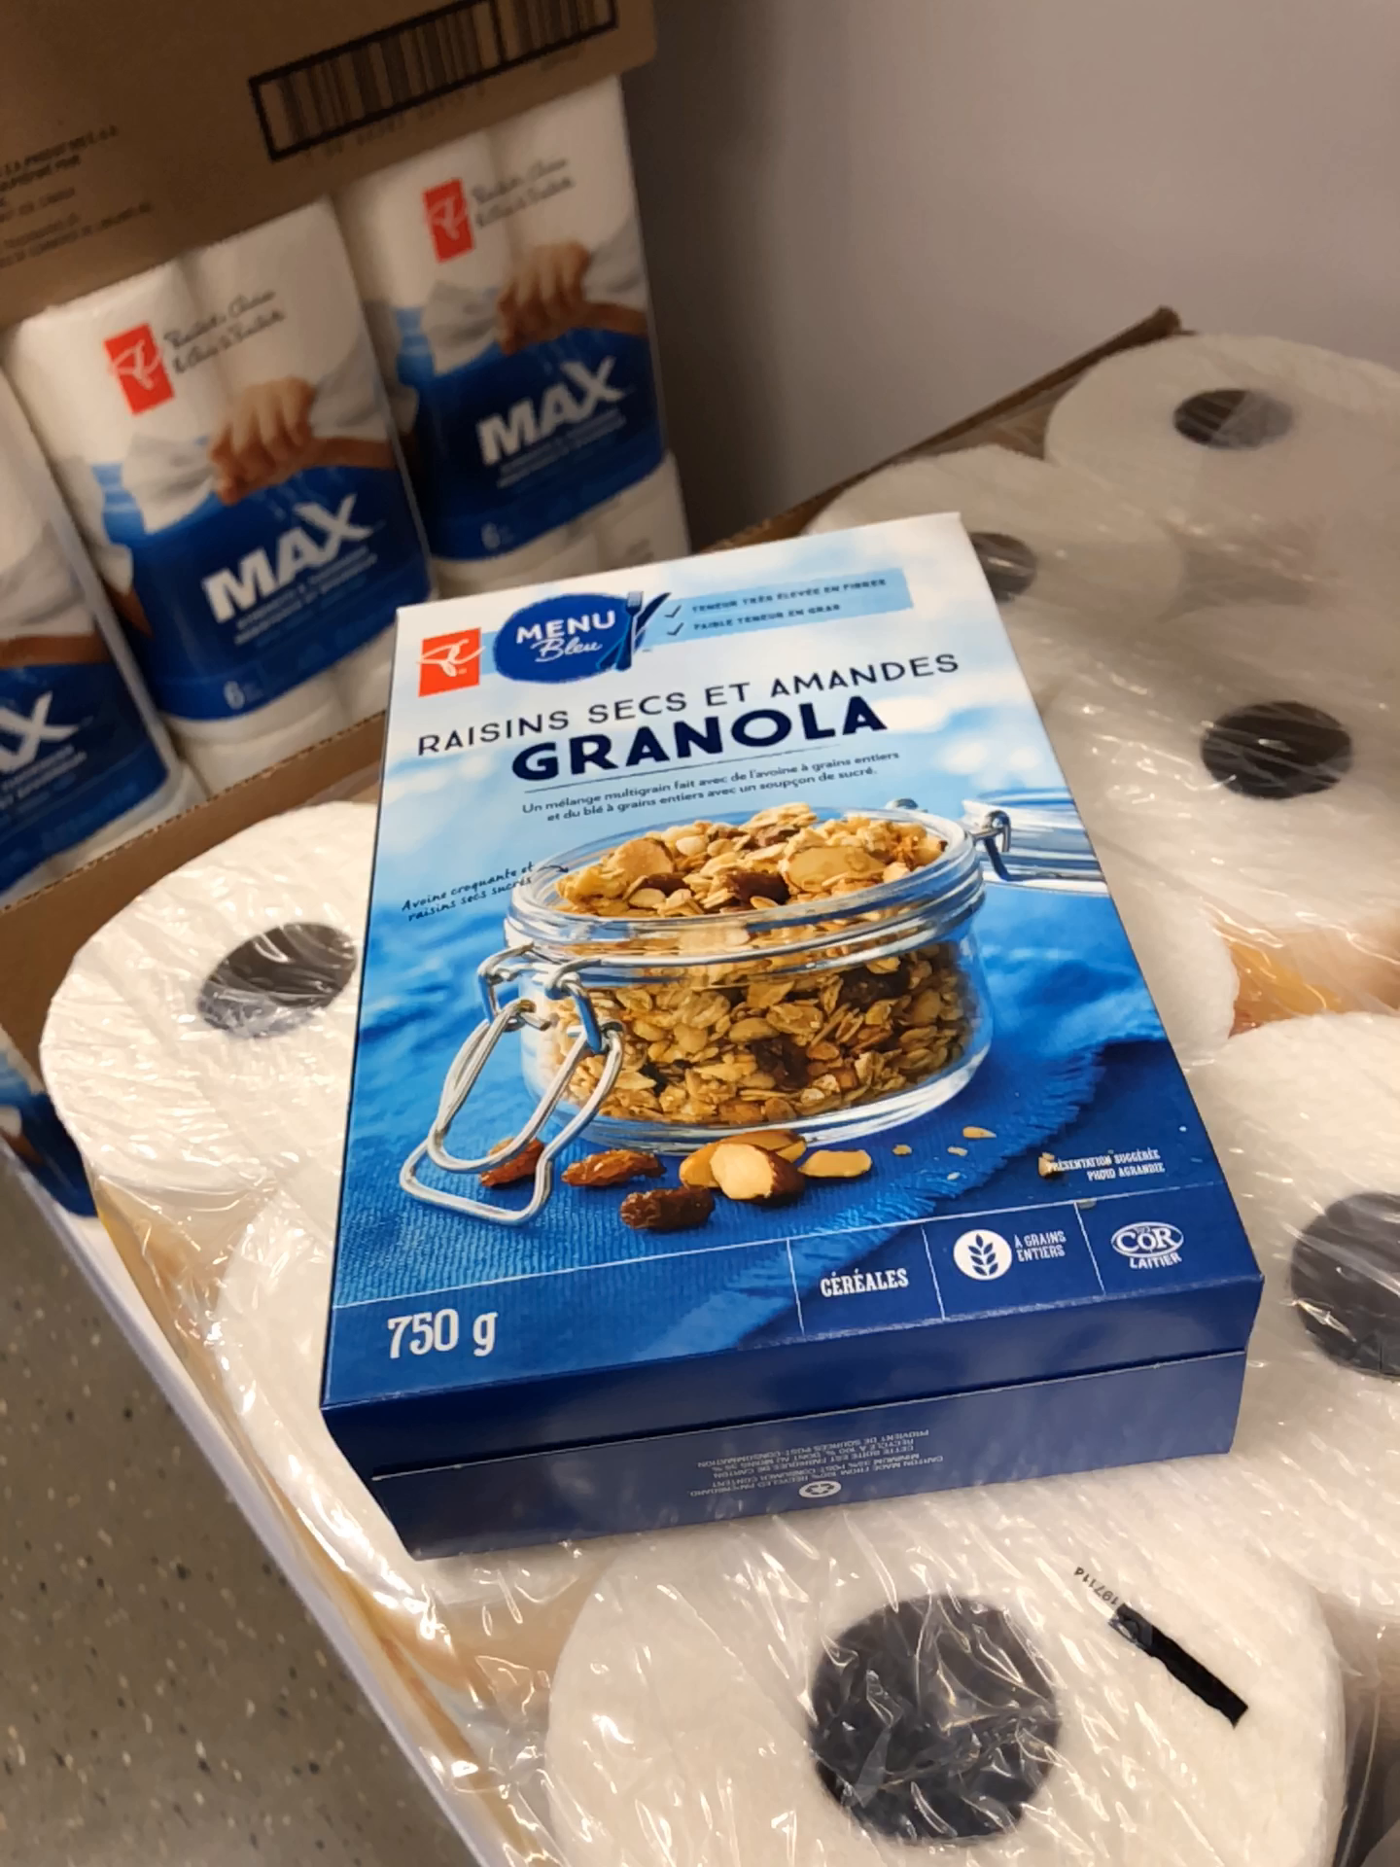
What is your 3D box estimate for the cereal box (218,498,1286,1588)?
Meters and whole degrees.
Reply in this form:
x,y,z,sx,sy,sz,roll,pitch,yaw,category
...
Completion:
x,y,z,sx,sy,sz,roll,pitch,yaw,category
0.001,0.002,0.358,0.170,0.060,0.251,-9,44,2,cereal box
